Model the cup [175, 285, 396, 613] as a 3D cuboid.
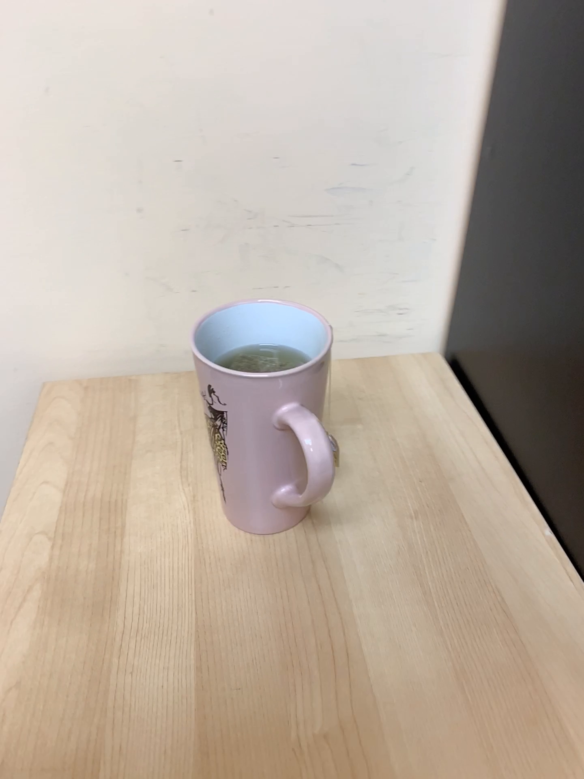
[{"bbox_3d":[-0.011,0.035,0.399,0.092,0.151,0.134,-12,38,-16],"label":"cup"}]
